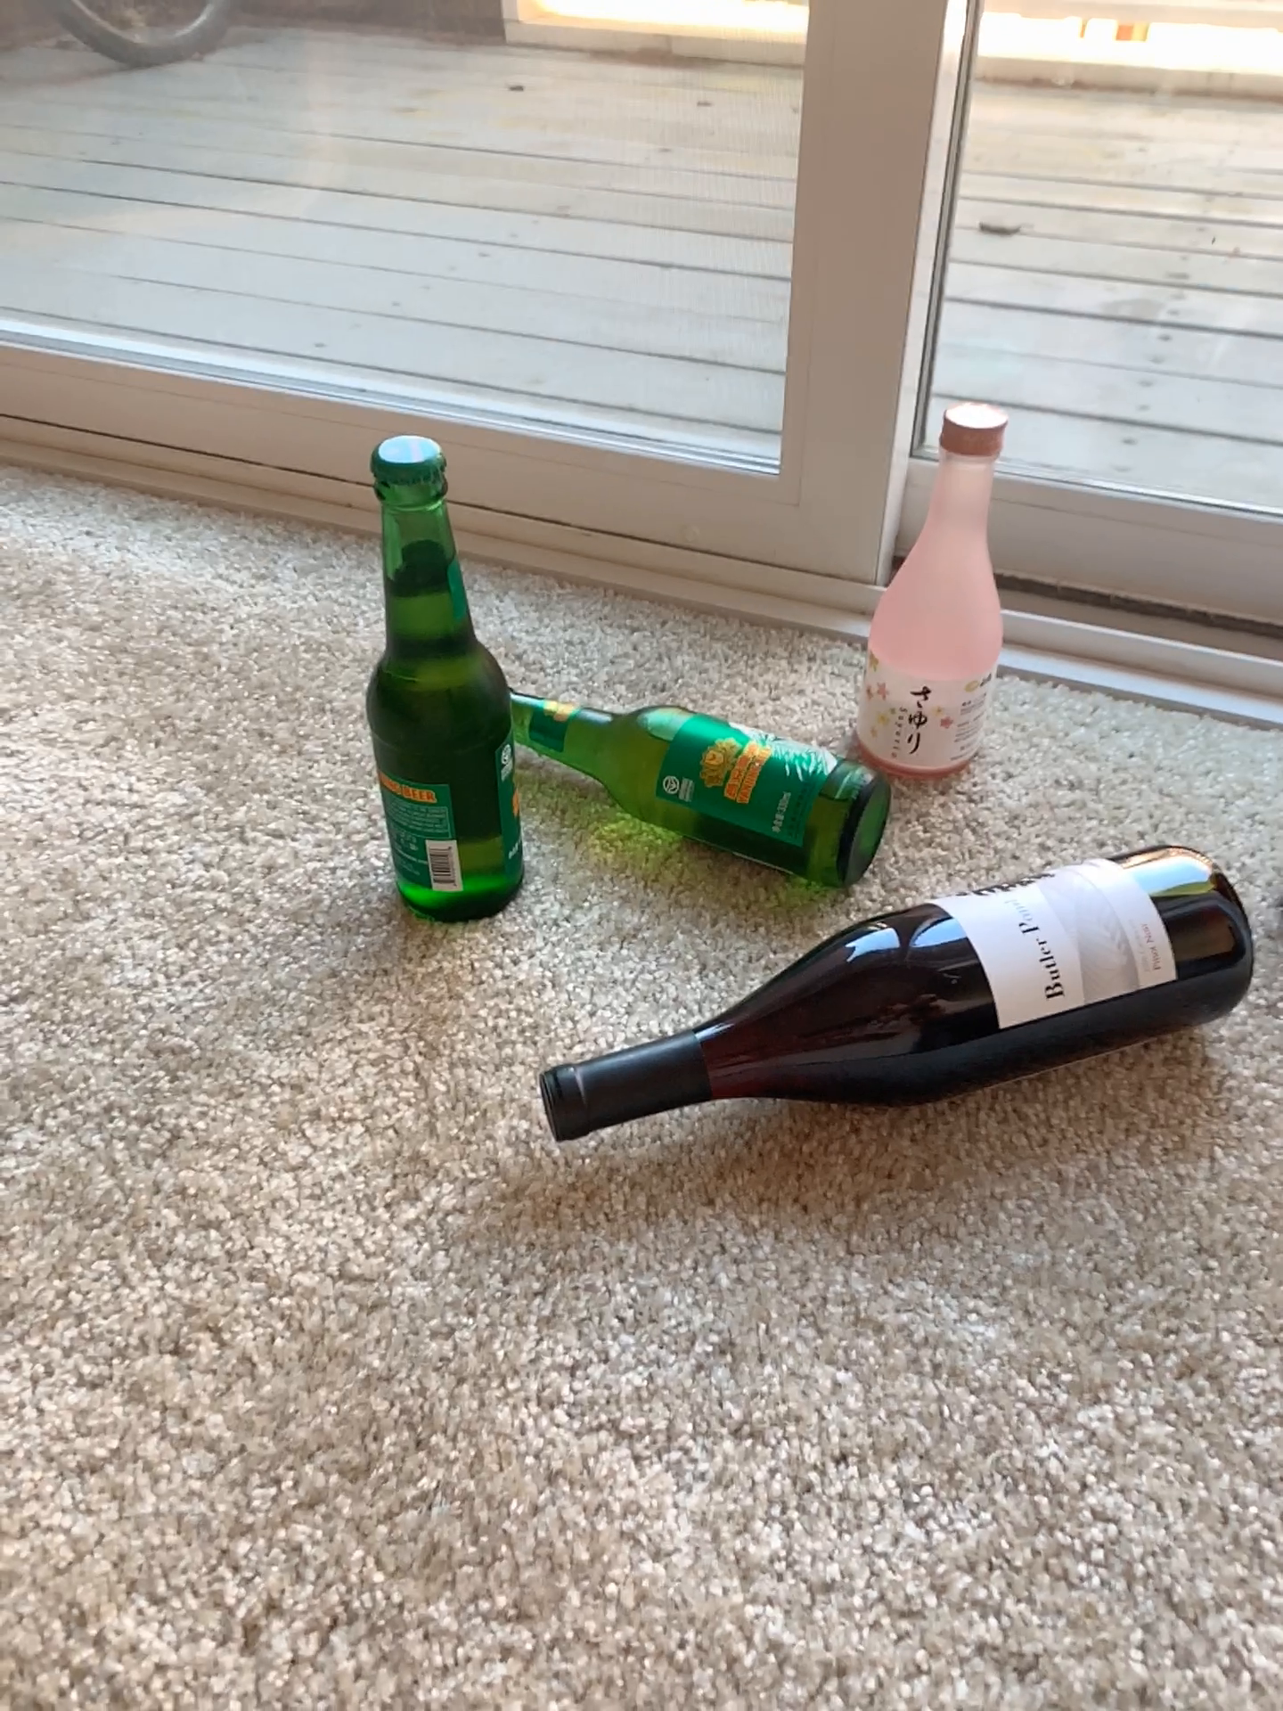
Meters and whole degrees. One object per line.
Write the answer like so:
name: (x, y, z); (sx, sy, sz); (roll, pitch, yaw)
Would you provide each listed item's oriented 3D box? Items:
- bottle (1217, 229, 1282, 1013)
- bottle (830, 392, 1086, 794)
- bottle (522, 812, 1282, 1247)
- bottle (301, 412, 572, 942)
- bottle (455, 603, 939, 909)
bottle: (0.330, -0.078, 0.520); (0.080, 0.288, 0.091); (-12, 41, -13)
bottle: (0.150, -0.128, 0.651); (0.070, 0.169, 0.080); (-12, 41, -13)
bottle: (0.106, 0.058, 0.496); (0.290, 0.060, 0.070); (-13, 42, -16)
bottle: (-0.082, -0.070, 0.556); (0.080, 0.199, 0.080); (0, 40, 0)
bottle: (0.021, -0.054, 0.643); (0.231, 0.060, 0.060); (22, 45, 23)
